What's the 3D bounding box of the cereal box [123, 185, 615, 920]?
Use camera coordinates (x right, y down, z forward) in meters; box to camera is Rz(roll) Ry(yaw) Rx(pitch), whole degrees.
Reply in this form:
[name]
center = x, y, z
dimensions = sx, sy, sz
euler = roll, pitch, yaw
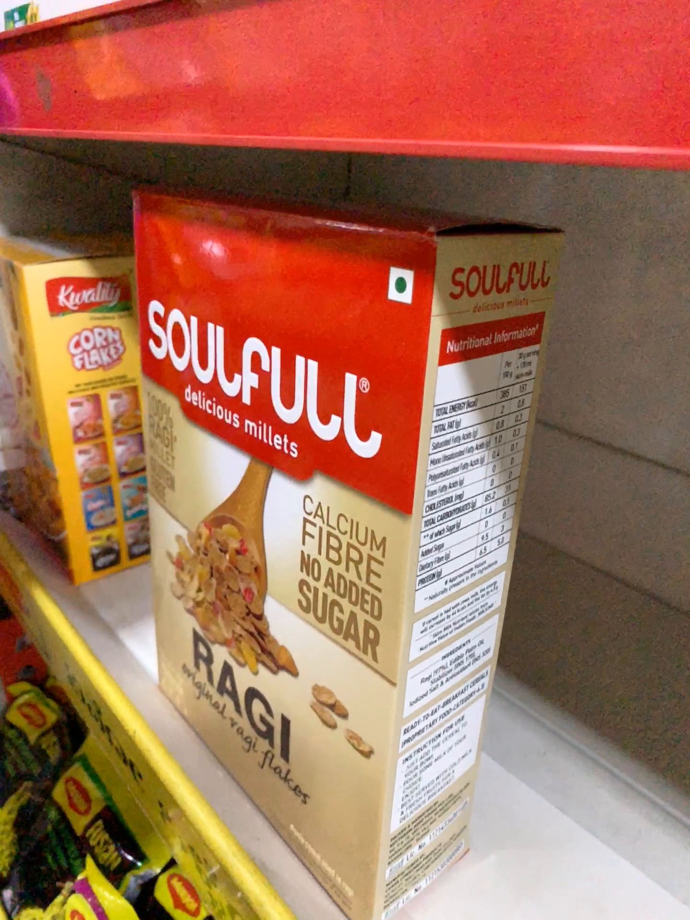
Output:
[cereal box]
center = -0.013, 0.033, 0.278
dimensions = 0.060, 0.248, 0.171
euler = -14, 28, -38
